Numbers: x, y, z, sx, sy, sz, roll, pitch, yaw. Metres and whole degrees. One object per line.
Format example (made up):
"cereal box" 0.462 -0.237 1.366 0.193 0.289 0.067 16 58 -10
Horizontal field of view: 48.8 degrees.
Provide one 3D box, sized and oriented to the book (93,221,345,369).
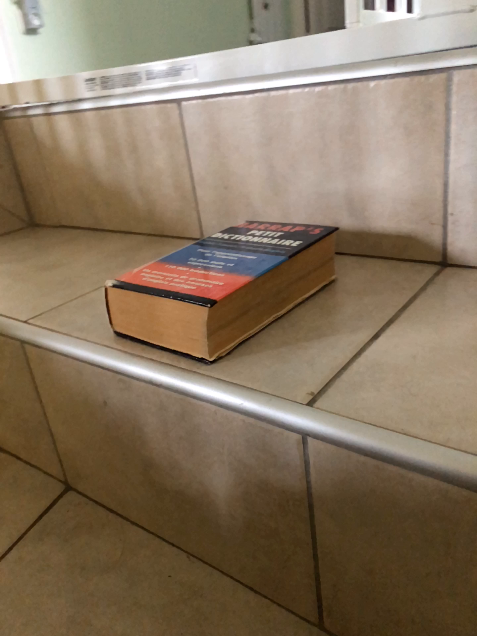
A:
"book" -0.007 -0.032 0.449 0.118 0.050 0.186 12 29 37
